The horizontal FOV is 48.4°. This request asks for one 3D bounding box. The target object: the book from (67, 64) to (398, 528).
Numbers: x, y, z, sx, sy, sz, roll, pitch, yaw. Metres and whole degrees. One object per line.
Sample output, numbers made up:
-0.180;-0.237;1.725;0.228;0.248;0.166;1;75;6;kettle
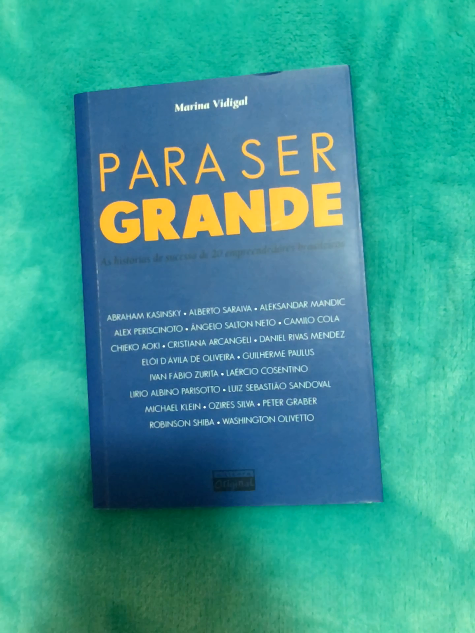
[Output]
-0.004;-0.006;0.252;0.140;0.030;0.200;-3;89;8;book
